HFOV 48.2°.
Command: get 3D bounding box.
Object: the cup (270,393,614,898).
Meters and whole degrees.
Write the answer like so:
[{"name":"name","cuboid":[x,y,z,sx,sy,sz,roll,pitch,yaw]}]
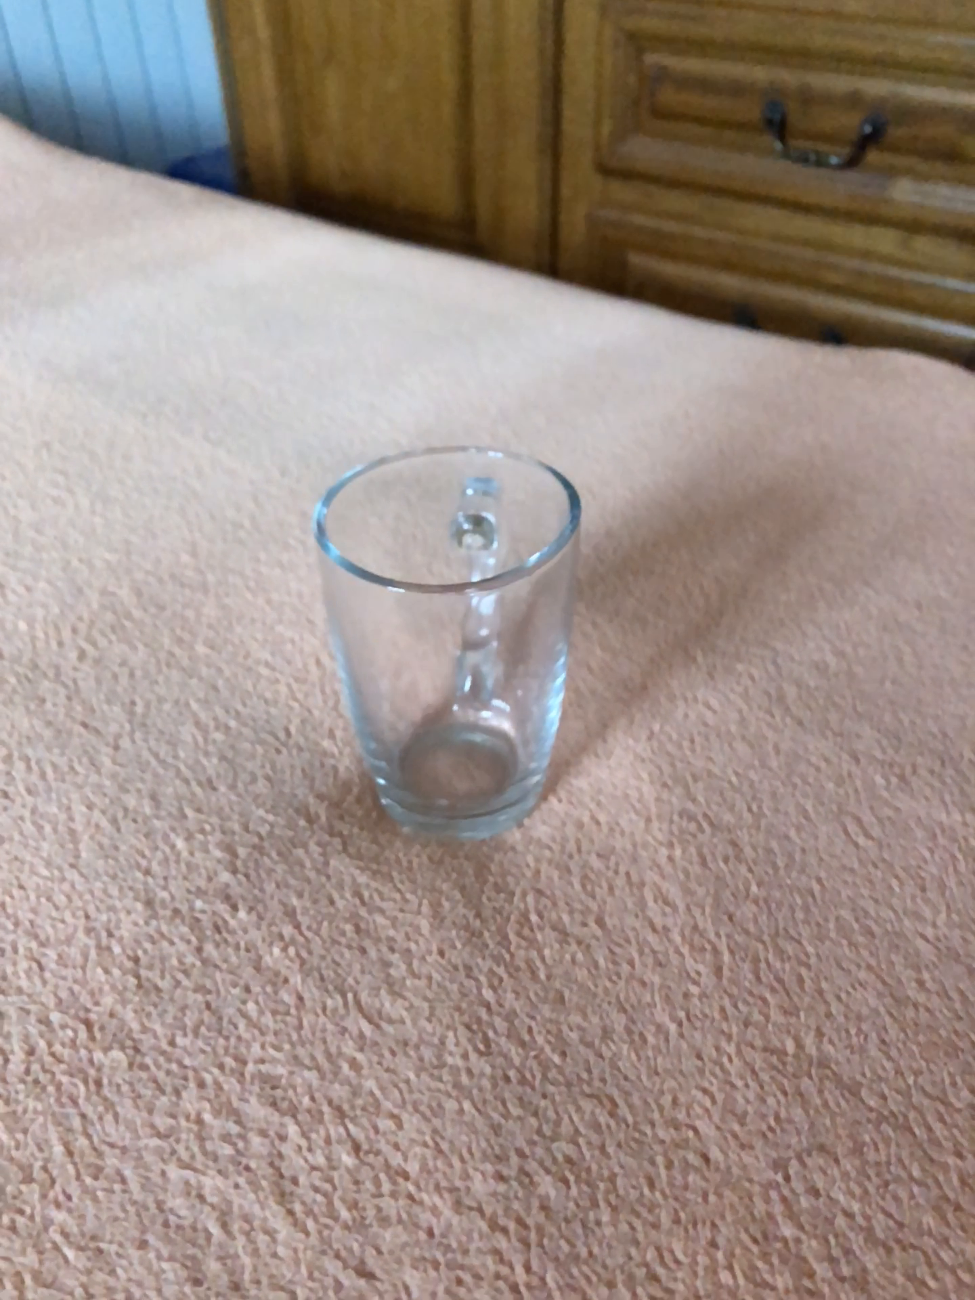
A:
[{"name":"cup","cuboid":[-0.004,-0.005,0.292,0.070,0.089,0.101,3,37,6]}]
